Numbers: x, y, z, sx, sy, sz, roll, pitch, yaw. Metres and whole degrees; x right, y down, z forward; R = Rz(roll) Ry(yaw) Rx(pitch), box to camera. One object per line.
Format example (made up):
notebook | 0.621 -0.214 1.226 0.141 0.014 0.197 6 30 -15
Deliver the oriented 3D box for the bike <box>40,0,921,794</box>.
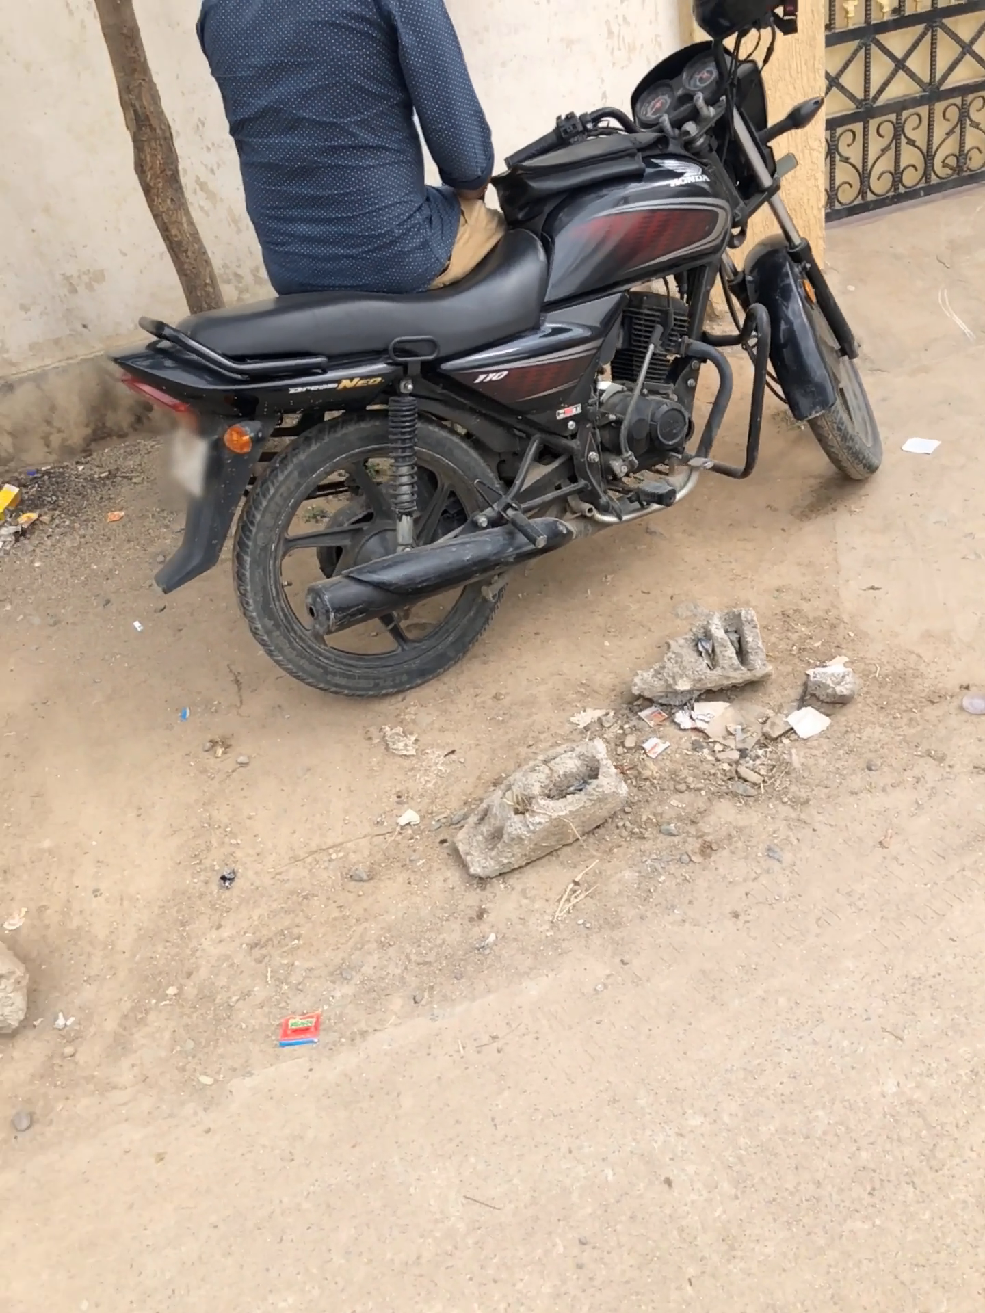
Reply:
bike | 0.124 -0.729 2.325 1.671 1.070 0.722 -32 40 -26
